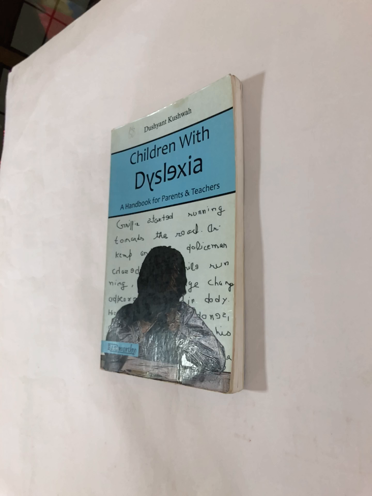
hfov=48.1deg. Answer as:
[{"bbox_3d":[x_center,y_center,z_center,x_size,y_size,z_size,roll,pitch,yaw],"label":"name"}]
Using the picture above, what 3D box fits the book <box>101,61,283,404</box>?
[{"bbox_3d":[-0.003,-0.007,0.323,0.151,0.030,0.220,-8,77,42],"label":"book"}]
